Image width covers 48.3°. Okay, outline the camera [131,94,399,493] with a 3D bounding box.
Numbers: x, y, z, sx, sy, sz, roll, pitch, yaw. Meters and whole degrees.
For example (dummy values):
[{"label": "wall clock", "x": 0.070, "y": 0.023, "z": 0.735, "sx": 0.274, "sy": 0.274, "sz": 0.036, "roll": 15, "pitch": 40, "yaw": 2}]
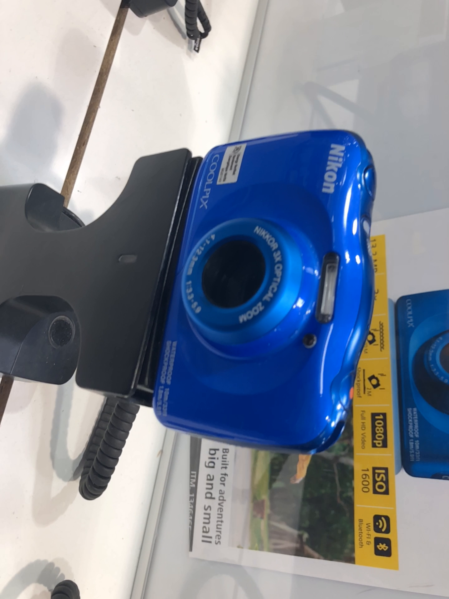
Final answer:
[{"label": "camera", "x": 0.021, "y": -0.001, "z": 0.193, "sx": 0.050, "sy": 0.070, "sz": 0.130, "roll": 34, "pitch": 61, "yaw": -54}]
